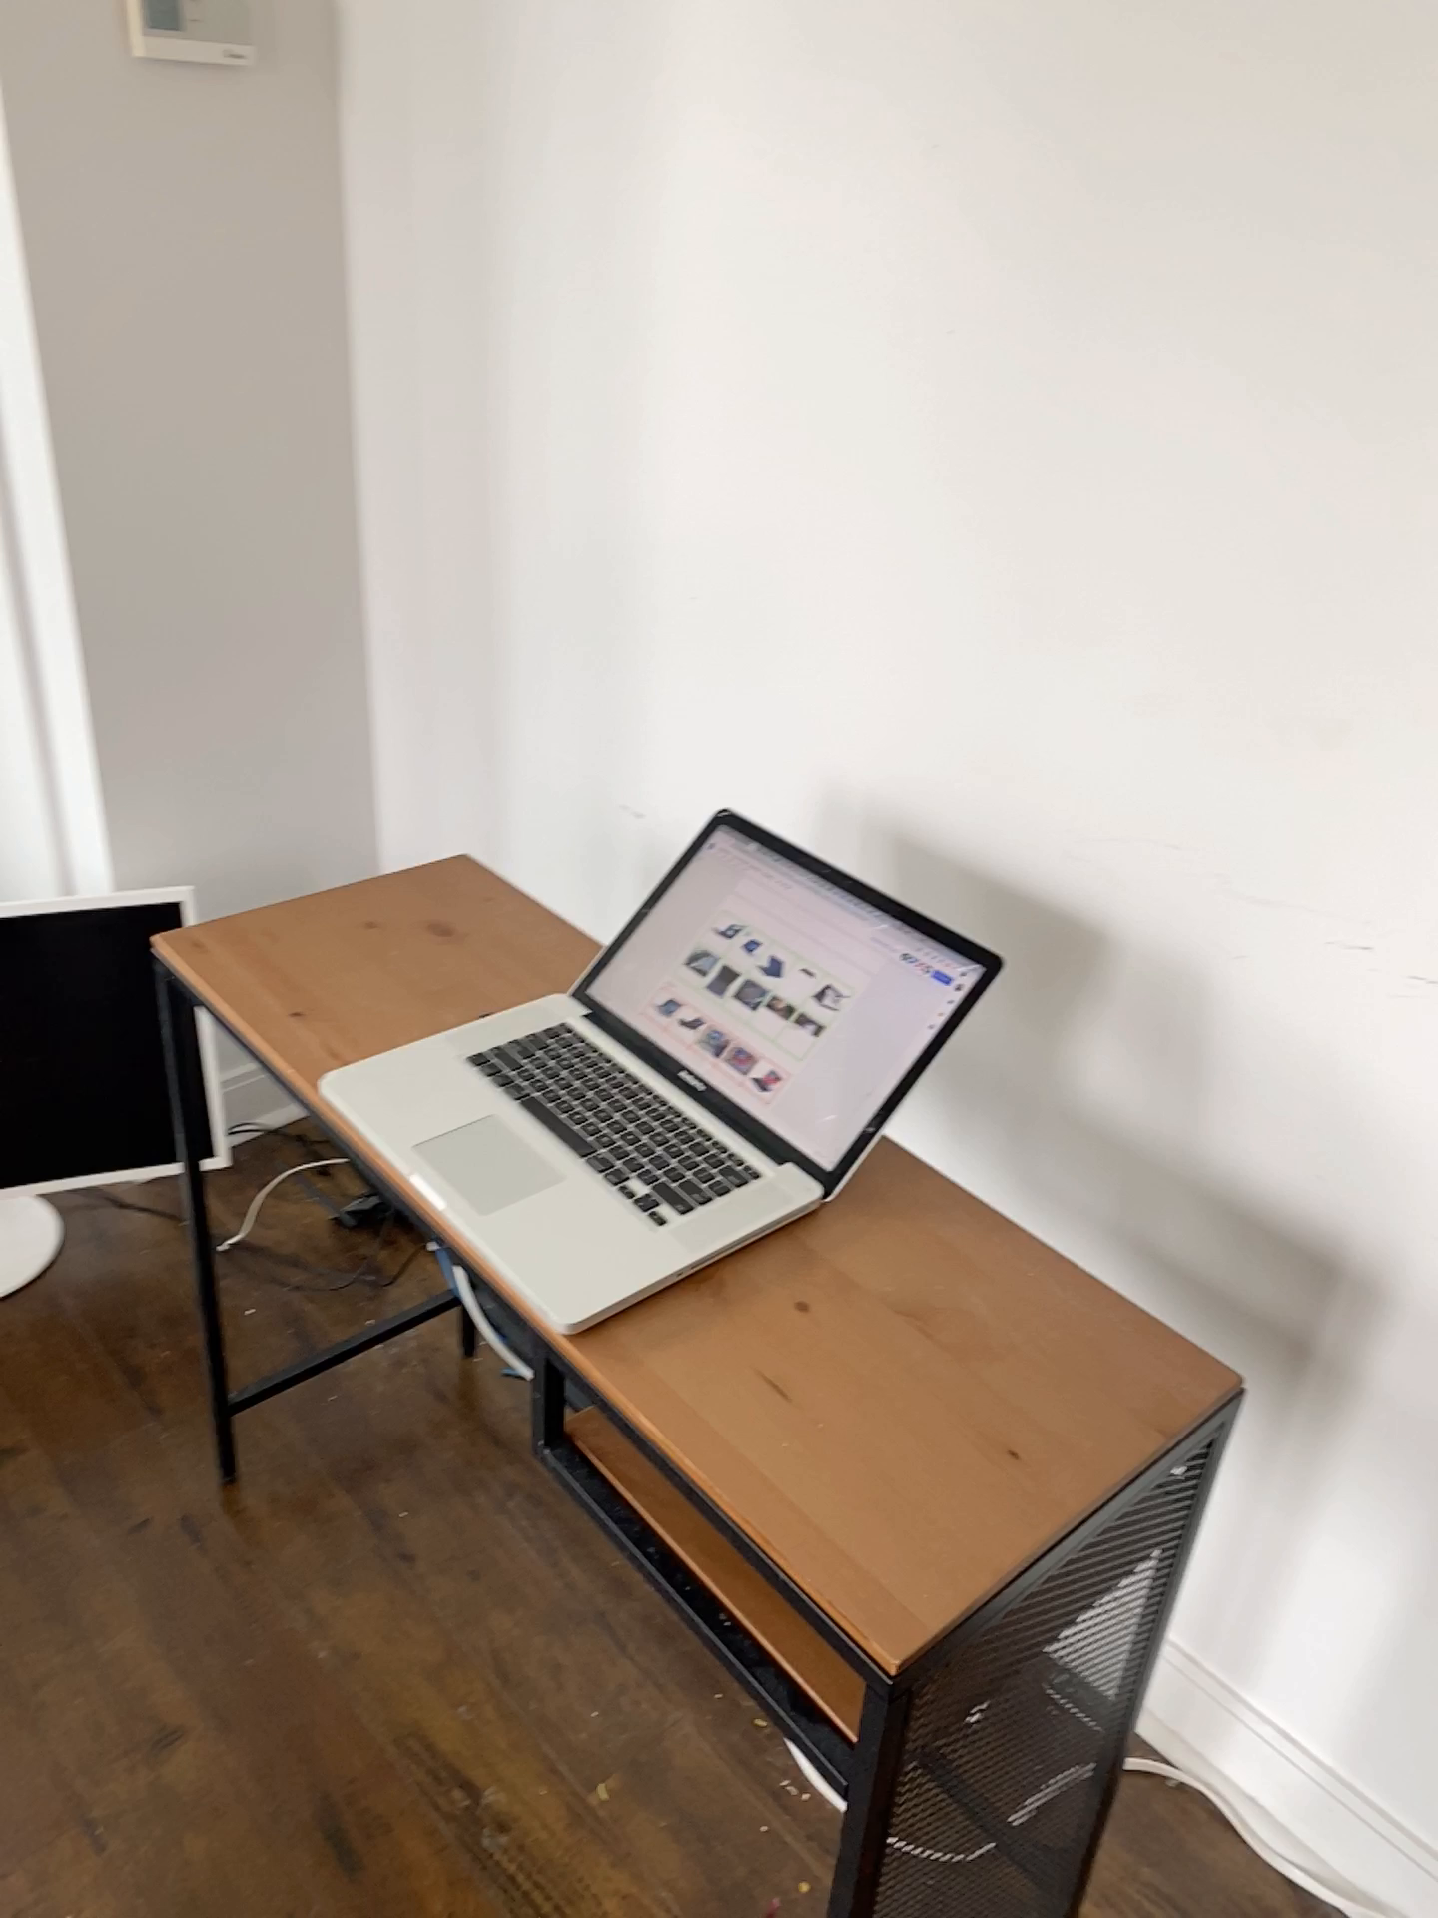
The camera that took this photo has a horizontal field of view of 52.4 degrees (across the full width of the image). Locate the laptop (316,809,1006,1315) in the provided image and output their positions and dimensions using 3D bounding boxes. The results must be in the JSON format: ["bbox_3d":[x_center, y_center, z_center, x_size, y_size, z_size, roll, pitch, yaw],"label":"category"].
[{"bbox_3d":[-0.049,0.051,1.235,0.436,0.155,0.360,-19,37,-36],"label":"laptop"}]
